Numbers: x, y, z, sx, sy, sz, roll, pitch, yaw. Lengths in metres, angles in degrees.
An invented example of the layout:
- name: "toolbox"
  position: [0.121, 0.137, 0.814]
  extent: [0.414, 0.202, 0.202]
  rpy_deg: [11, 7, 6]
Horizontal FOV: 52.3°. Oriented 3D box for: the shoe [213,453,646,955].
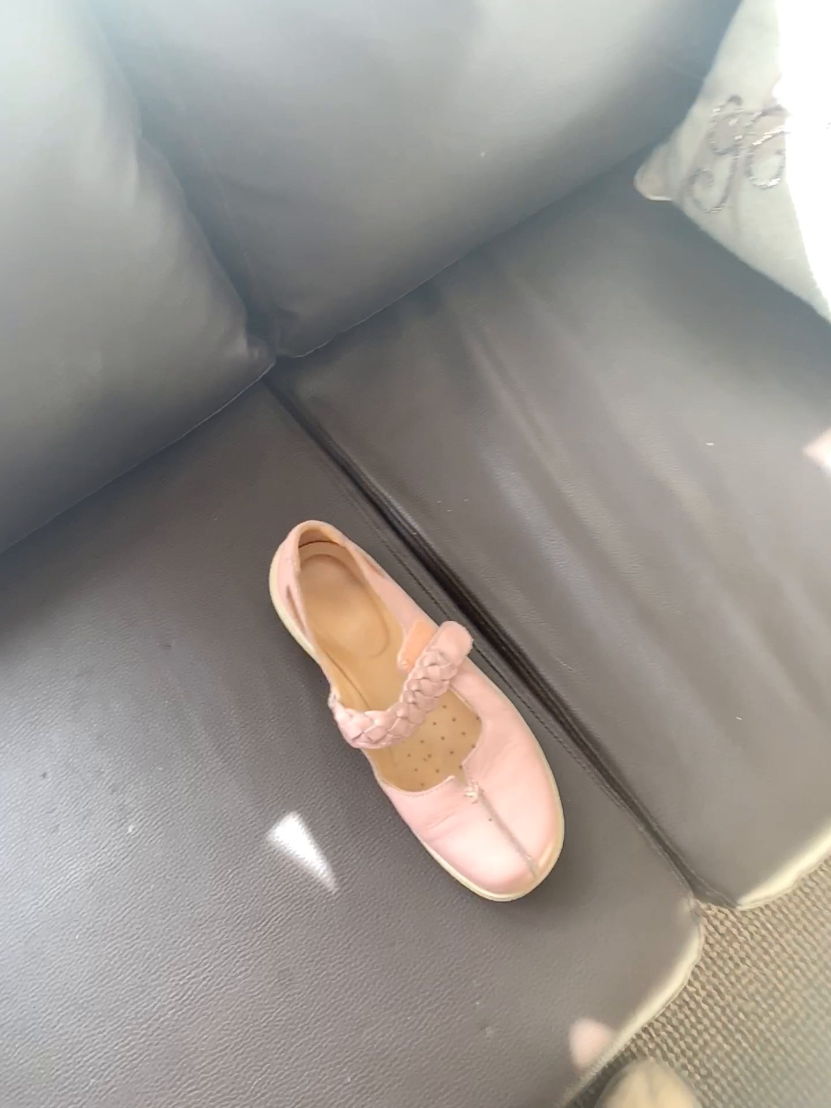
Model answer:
- name: "shoe"
  position: [0.000, 0.085, 0.507]
  extent: [0.104, 0.100, 0.261]
  rpy_deg: [-33, 73, -12]
